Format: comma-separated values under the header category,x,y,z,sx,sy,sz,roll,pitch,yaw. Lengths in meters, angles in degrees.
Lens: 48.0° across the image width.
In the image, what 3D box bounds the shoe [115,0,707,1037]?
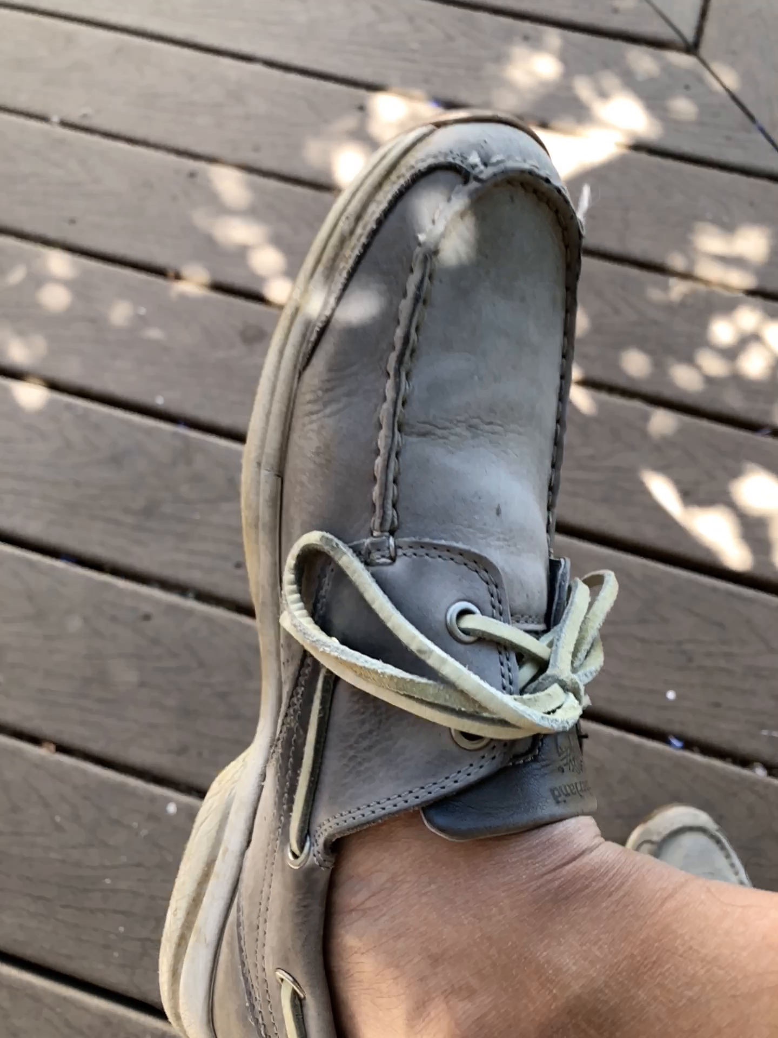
category,x,y,z,sx,sy,sz,roll,pitch,yaw
shoe,0.012,0.039,0.270,0.083,0.116,0.326,9,92,40
